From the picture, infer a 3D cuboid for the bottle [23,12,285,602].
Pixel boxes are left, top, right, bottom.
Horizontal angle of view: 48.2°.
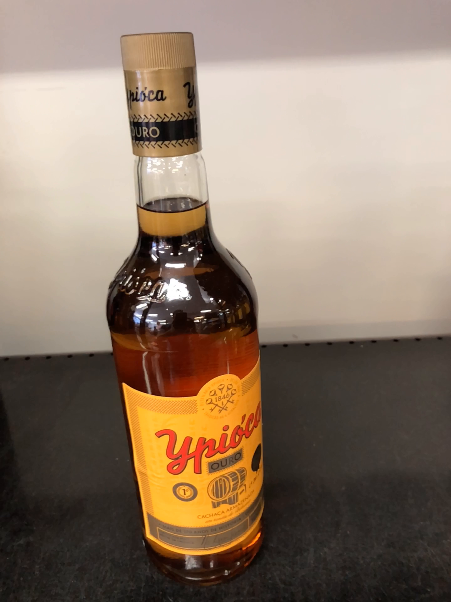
[{"bbox_3d":[-0.025,0.030,0.262,0.080,0.308,0.070,-15,30,-23],"label":"bottle"}]
